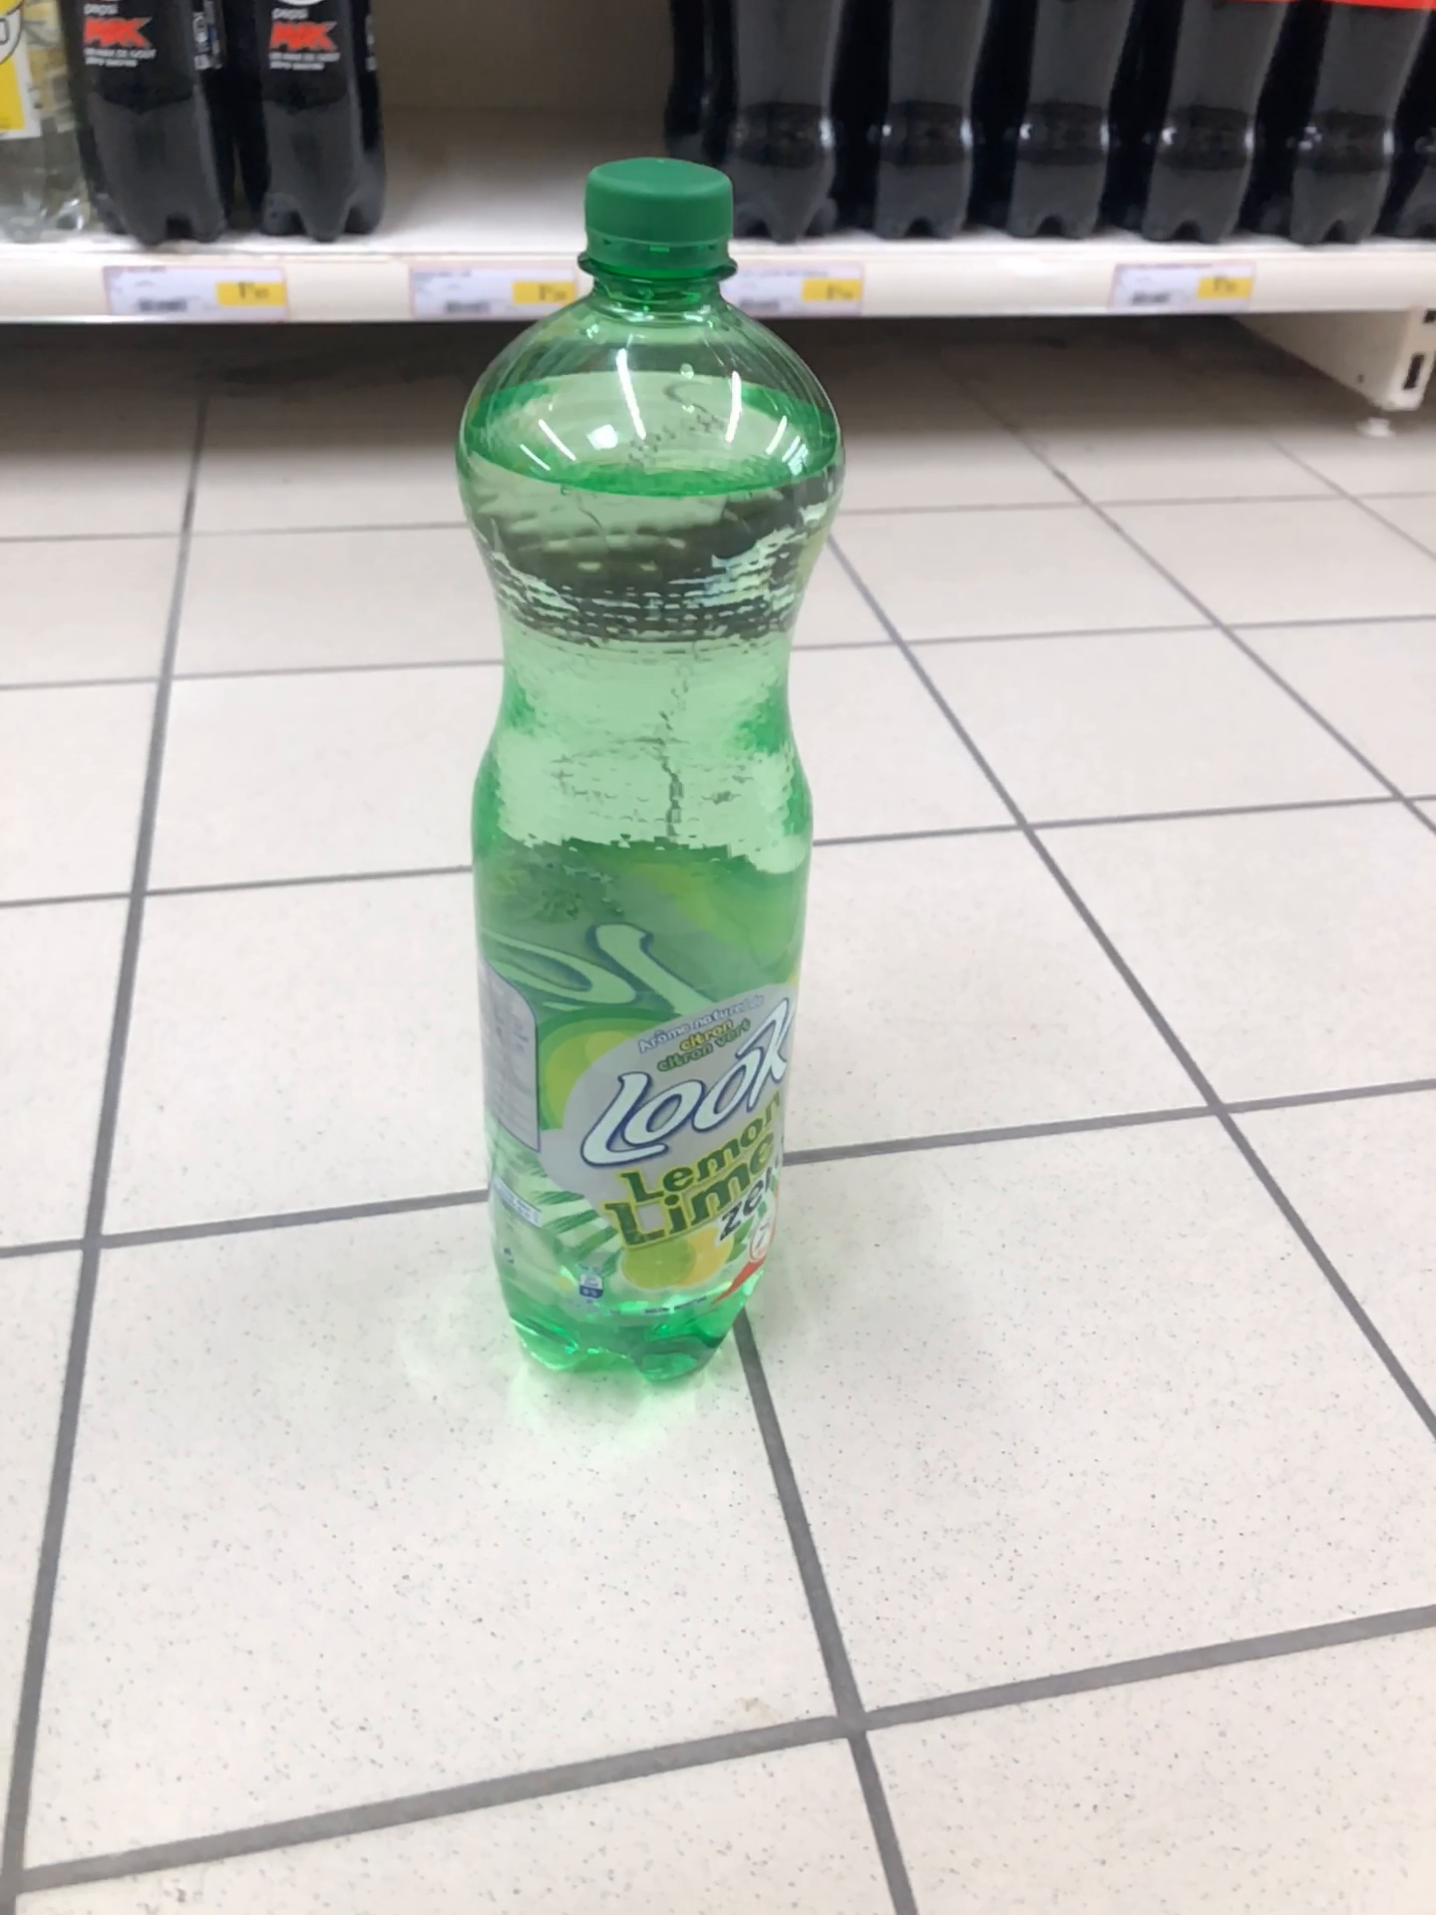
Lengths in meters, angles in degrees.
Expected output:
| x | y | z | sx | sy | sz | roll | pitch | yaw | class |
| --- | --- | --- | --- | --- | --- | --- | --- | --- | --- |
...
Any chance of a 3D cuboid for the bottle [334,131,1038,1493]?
| x | y | z | sx | sy | sz | roll | pitch | yaw | class |
| --- | --- | --- | --- | --- | --- | --- | --- | --- | --- |
| -0.016 | -0.022 | 0.402 | 0.100 | 0.318 | 0.100 | 2 | 35 | -2 | bottle |
